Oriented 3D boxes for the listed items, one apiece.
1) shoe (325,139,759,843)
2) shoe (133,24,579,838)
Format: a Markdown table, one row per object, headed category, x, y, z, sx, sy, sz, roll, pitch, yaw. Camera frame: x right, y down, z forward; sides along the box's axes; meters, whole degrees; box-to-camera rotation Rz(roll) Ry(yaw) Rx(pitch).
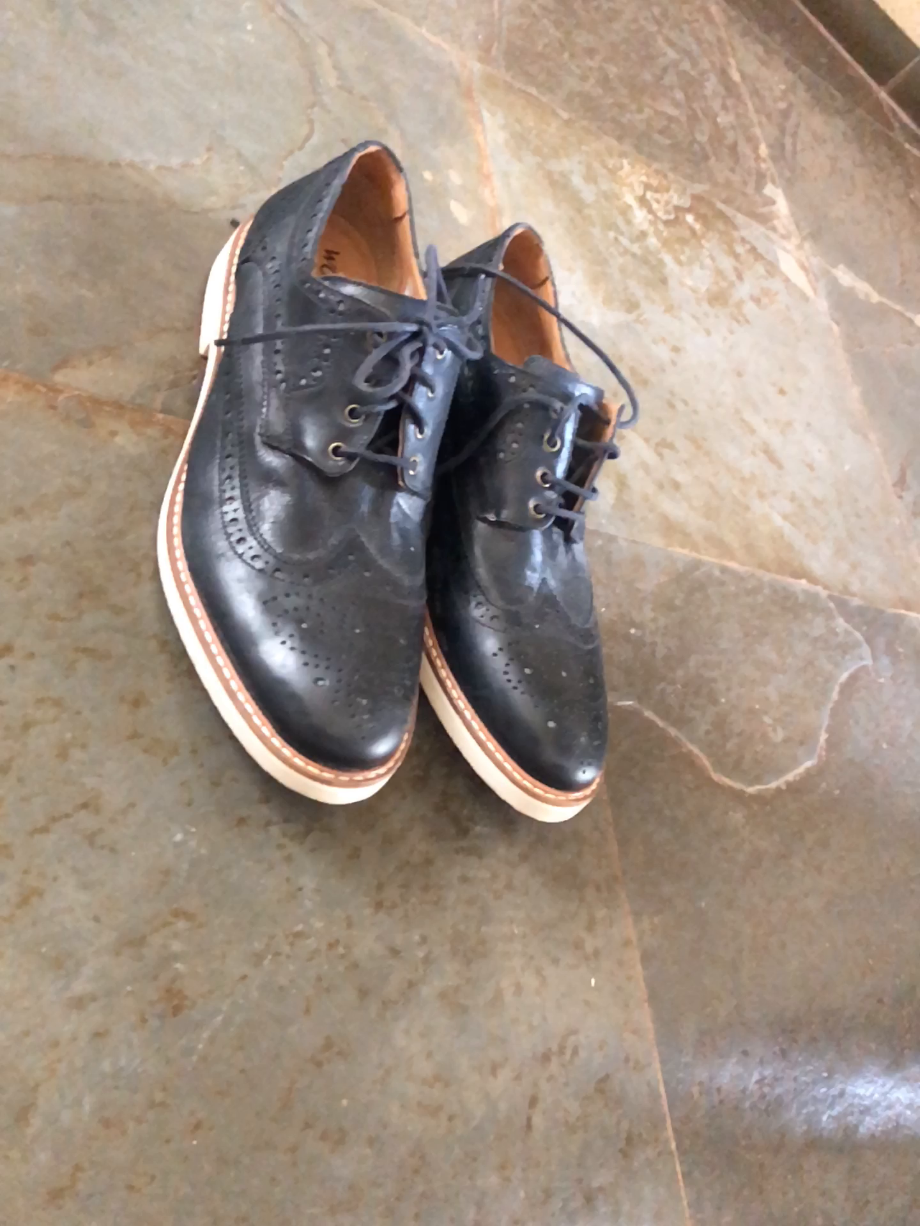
| category | x | y | z | sx | sy | sz | roll | pitch | yaw |
| --- | --- | --- | --- | --- | --- | --- | --- | --- | --- |
| shoe | 0.024 | -0.055 | 0.471 | 0.110 | 0.099 | 0.301 | 10 | 59 | -36 |
| shoe | -0.050 | -0.072 | 0.398 | 0.110 | 0.099 | 0.291 | 13 | 57 | -34 |
